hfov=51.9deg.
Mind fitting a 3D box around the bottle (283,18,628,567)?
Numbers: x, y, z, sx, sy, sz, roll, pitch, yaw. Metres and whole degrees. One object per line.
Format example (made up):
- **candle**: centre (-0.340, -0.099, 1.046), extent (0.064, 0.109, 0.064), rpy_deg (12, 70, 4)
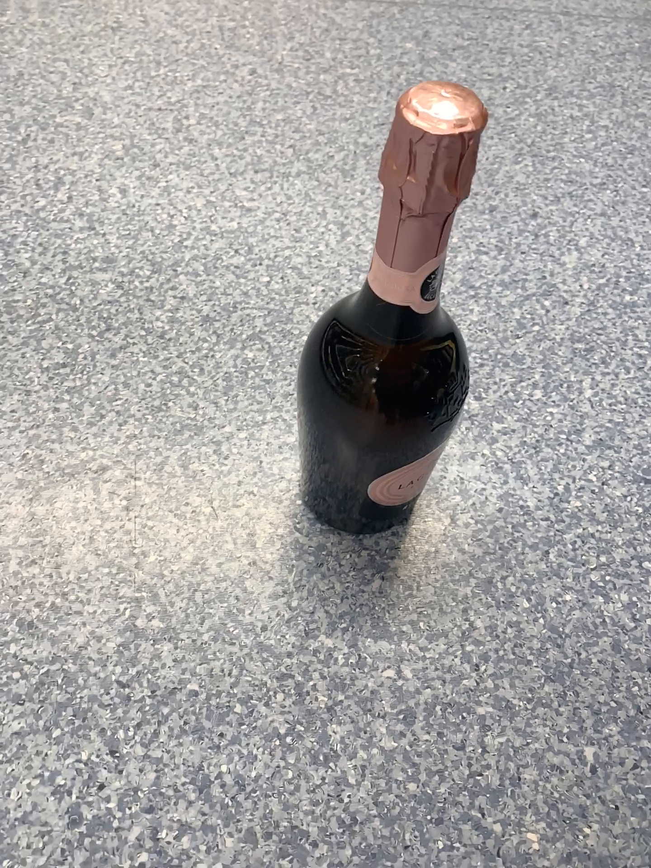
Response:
- **bottle**: centre (0.040, -0.041, 0.345), extent (0.079, 0.269, 0.094), rpy_deg (37, 61, 19)
